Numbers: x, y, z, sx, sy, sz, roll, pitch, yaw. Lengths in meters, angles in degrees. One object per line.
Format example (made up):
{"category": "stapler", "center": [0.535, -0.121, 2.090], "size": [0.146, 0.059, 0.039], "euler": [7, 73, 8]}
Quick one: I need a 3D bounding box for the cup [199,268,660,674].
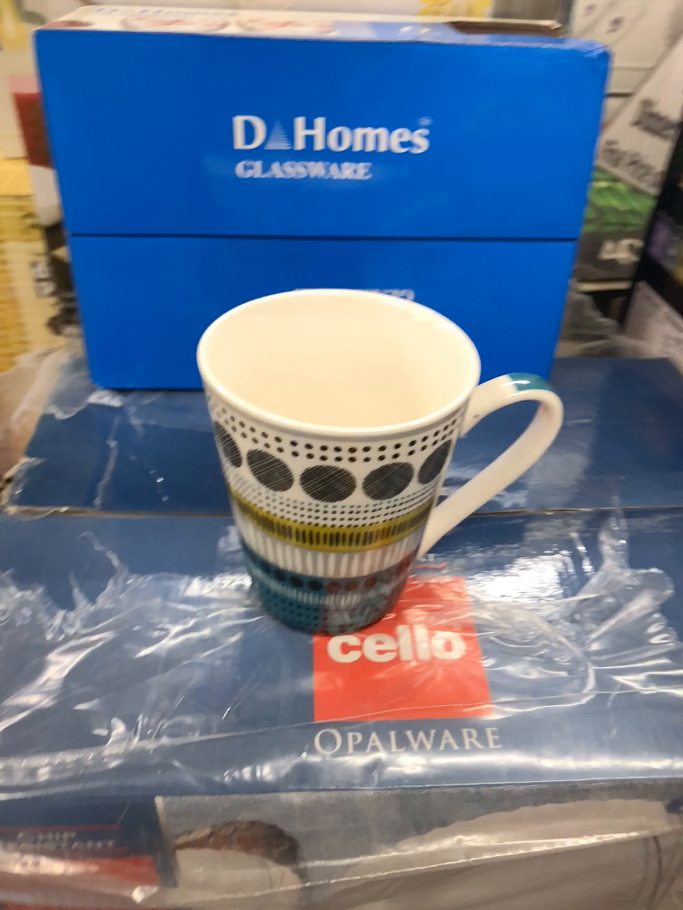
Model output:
{"category": "cup", "center": [0.018, 0.002, 0.259], "size": [0.120, 0.089, 0.091], "euler": [-5, 41, -8]}
